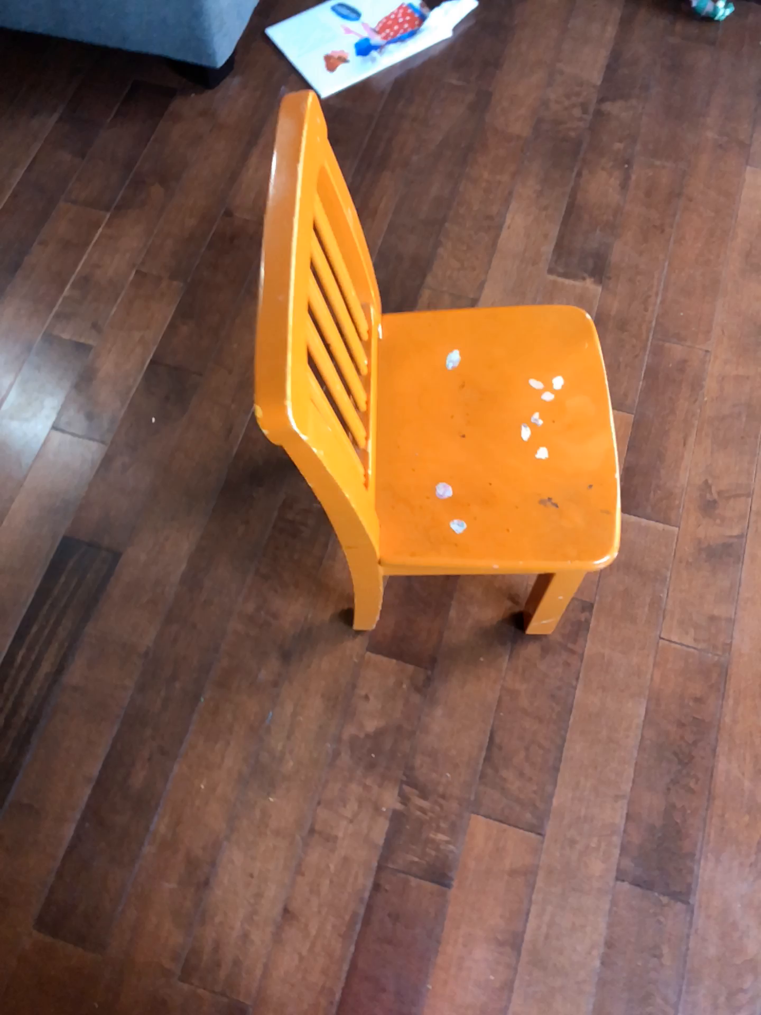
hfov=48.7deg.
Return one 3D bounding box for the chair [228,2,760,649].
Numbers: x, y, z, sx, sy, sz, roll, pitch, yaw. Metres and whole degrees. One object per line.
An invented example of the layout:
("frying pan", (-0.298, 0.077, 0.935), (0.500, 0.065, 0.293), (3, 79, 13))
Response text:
("chair", (0.092, -0.114, 0.847), (0.350, 0.569, 0.360), (2, 66, 2))
